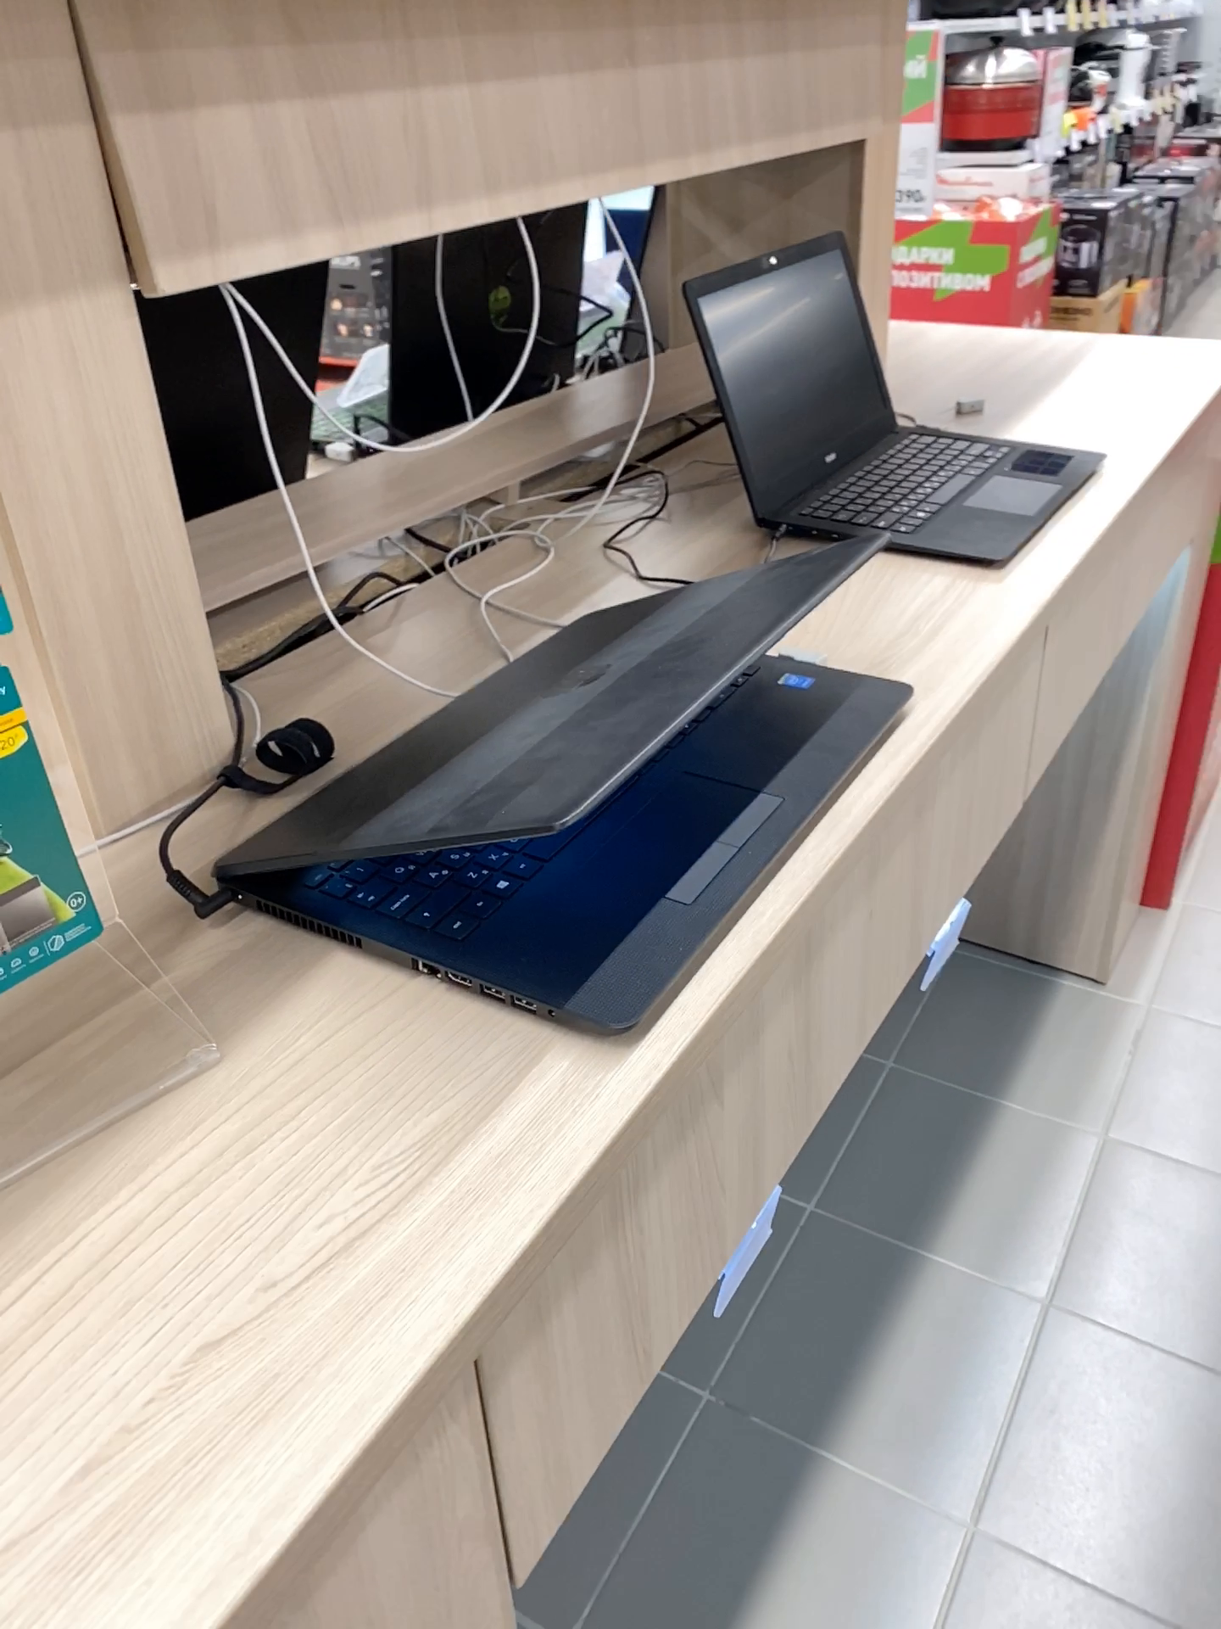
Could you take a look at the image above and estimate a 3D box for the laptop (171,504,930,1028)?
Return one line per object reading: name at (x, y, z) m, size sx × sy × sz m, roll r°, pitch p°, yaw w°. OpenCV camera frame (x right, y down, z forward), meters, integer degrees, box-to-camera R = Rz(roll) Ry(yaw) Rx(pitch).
laptop at (-0.007, -0.063, 0.703) m, size 0.251 × 0.093 × 0.374 m, roll 15°, pitch 35°, yaw 27°
